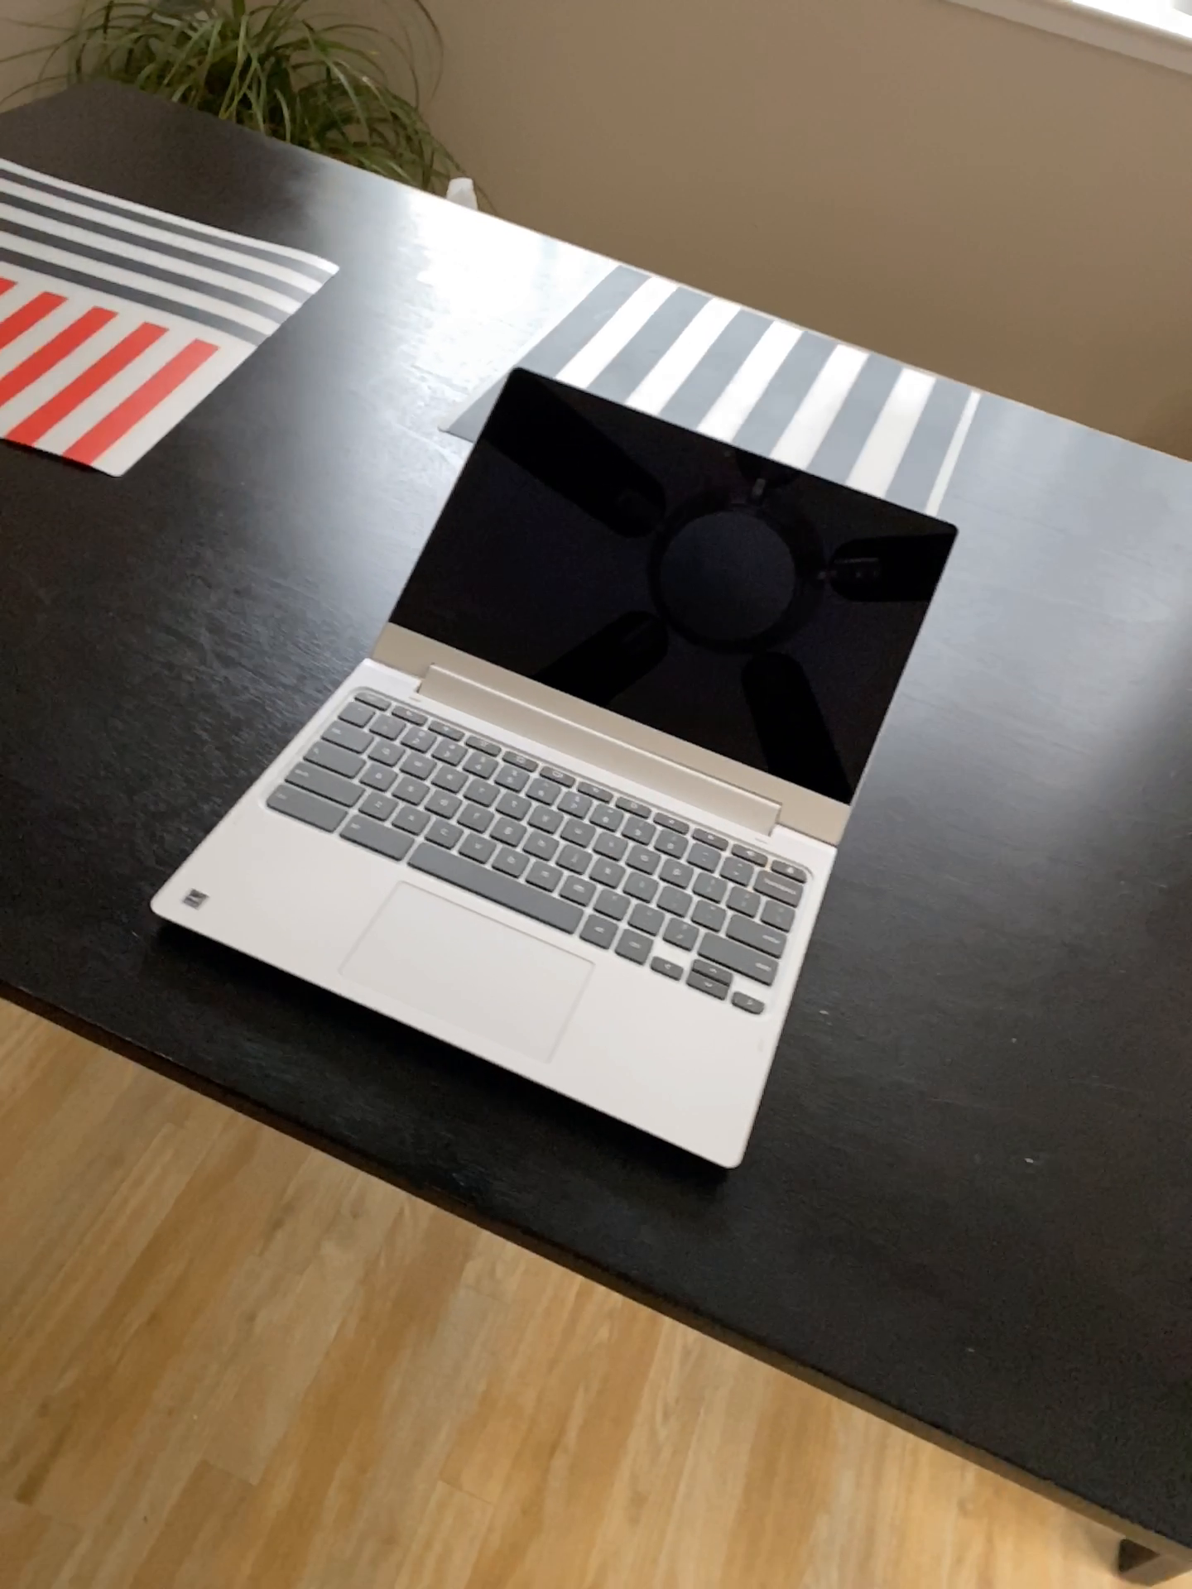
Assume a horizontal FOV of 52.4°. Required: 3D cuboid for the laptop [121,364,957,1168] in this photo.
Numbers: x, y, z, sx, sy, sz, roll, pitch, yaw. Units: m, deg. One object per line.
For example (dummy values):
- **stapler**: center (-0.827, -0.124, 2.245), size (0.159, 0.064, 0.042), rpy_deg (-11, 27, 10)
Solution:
- **laptop**: center (0.003, -0.052, 0.624), size (0.285, 0.106, 0.382), rpy_deg (22, 46, 7)
